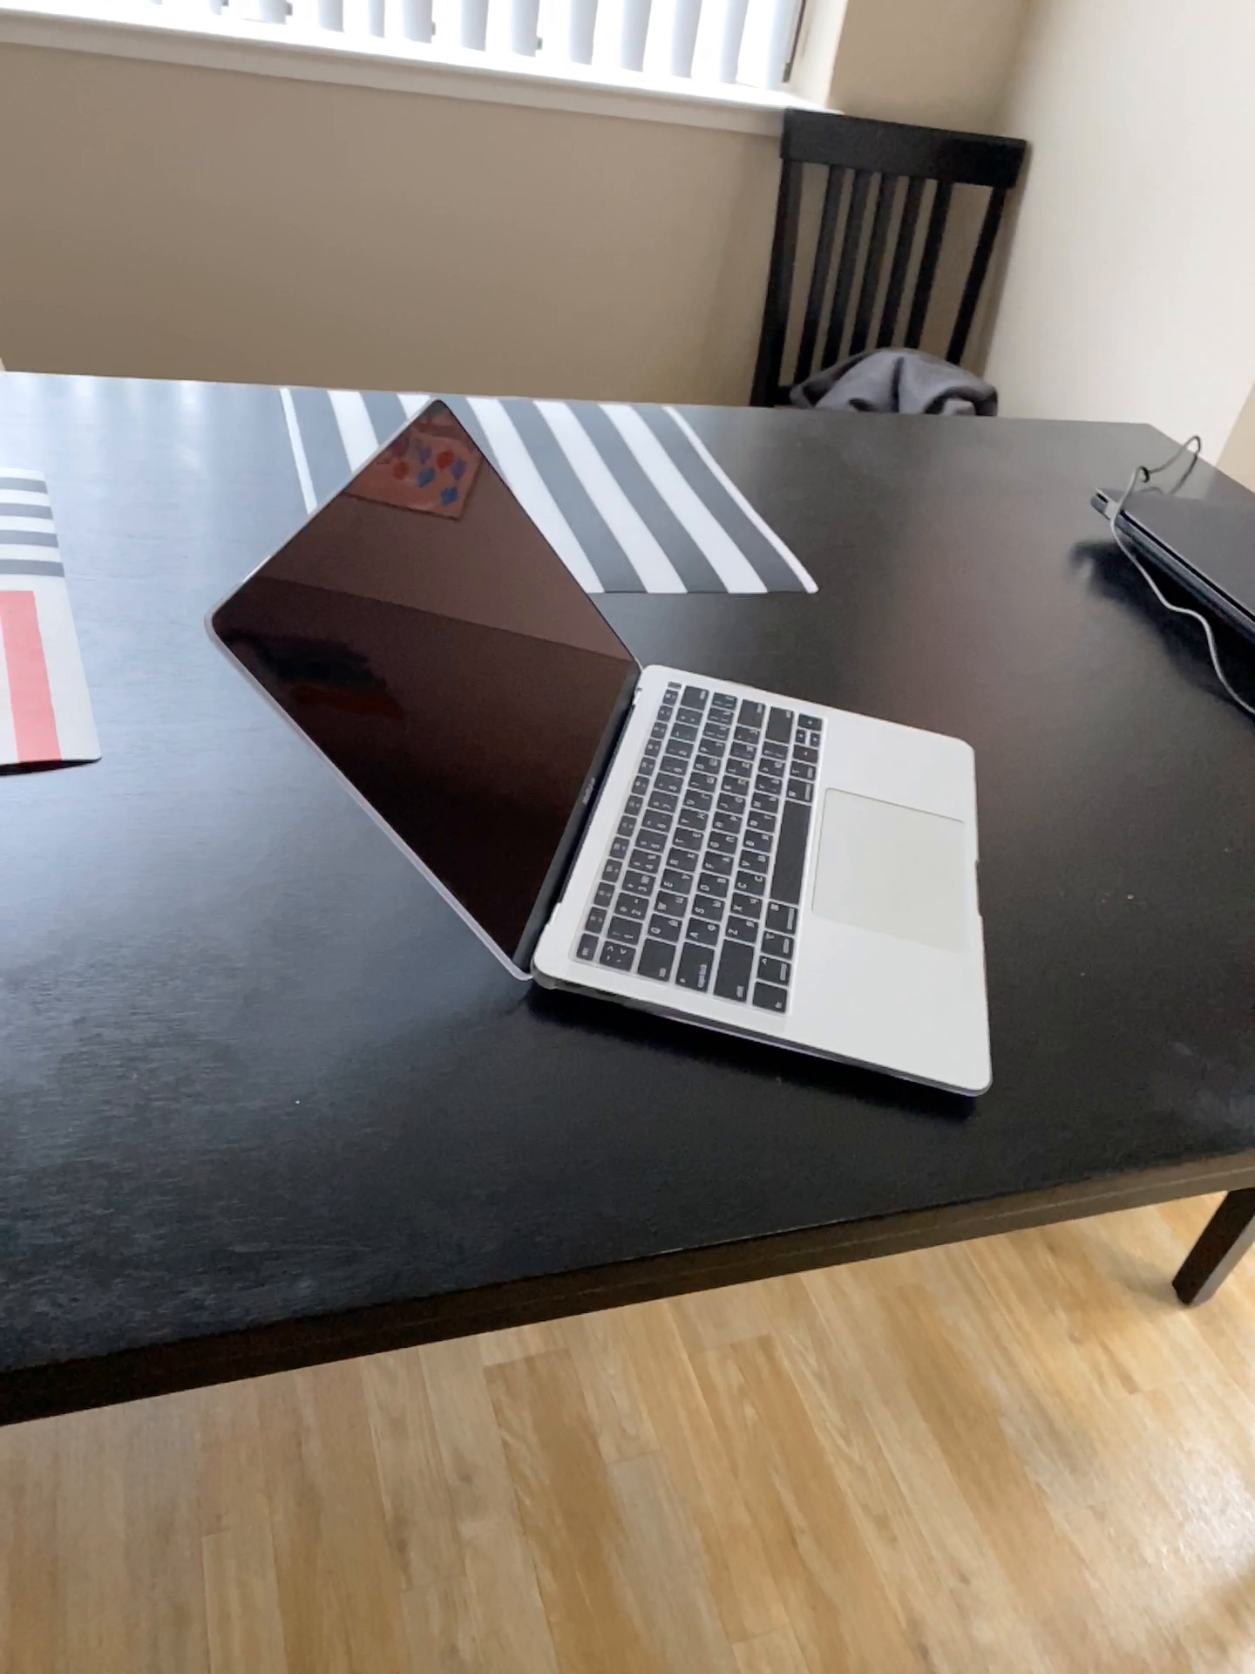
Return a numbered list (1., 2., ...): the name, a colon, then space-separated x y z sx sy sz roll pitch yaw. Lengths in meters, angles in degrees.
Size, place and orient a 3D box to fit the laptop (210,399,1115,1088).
1. laptop: 0.027 -0.071 0.655 0.361 0.139 0.298 14 37 3
